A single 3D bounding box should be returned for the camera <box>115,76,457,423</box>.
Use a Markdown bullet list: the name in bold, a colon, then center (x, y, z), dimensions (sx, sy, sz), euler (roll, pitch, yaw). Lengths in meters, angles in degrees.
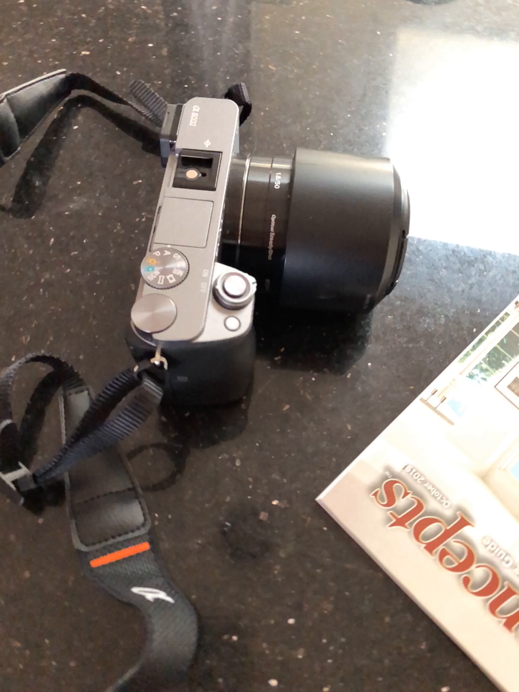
- **camera**: center (0.013, -0.040, 0.238), dimensions (0.110, 0.060, 0.120), euler (5, 63, 0)
